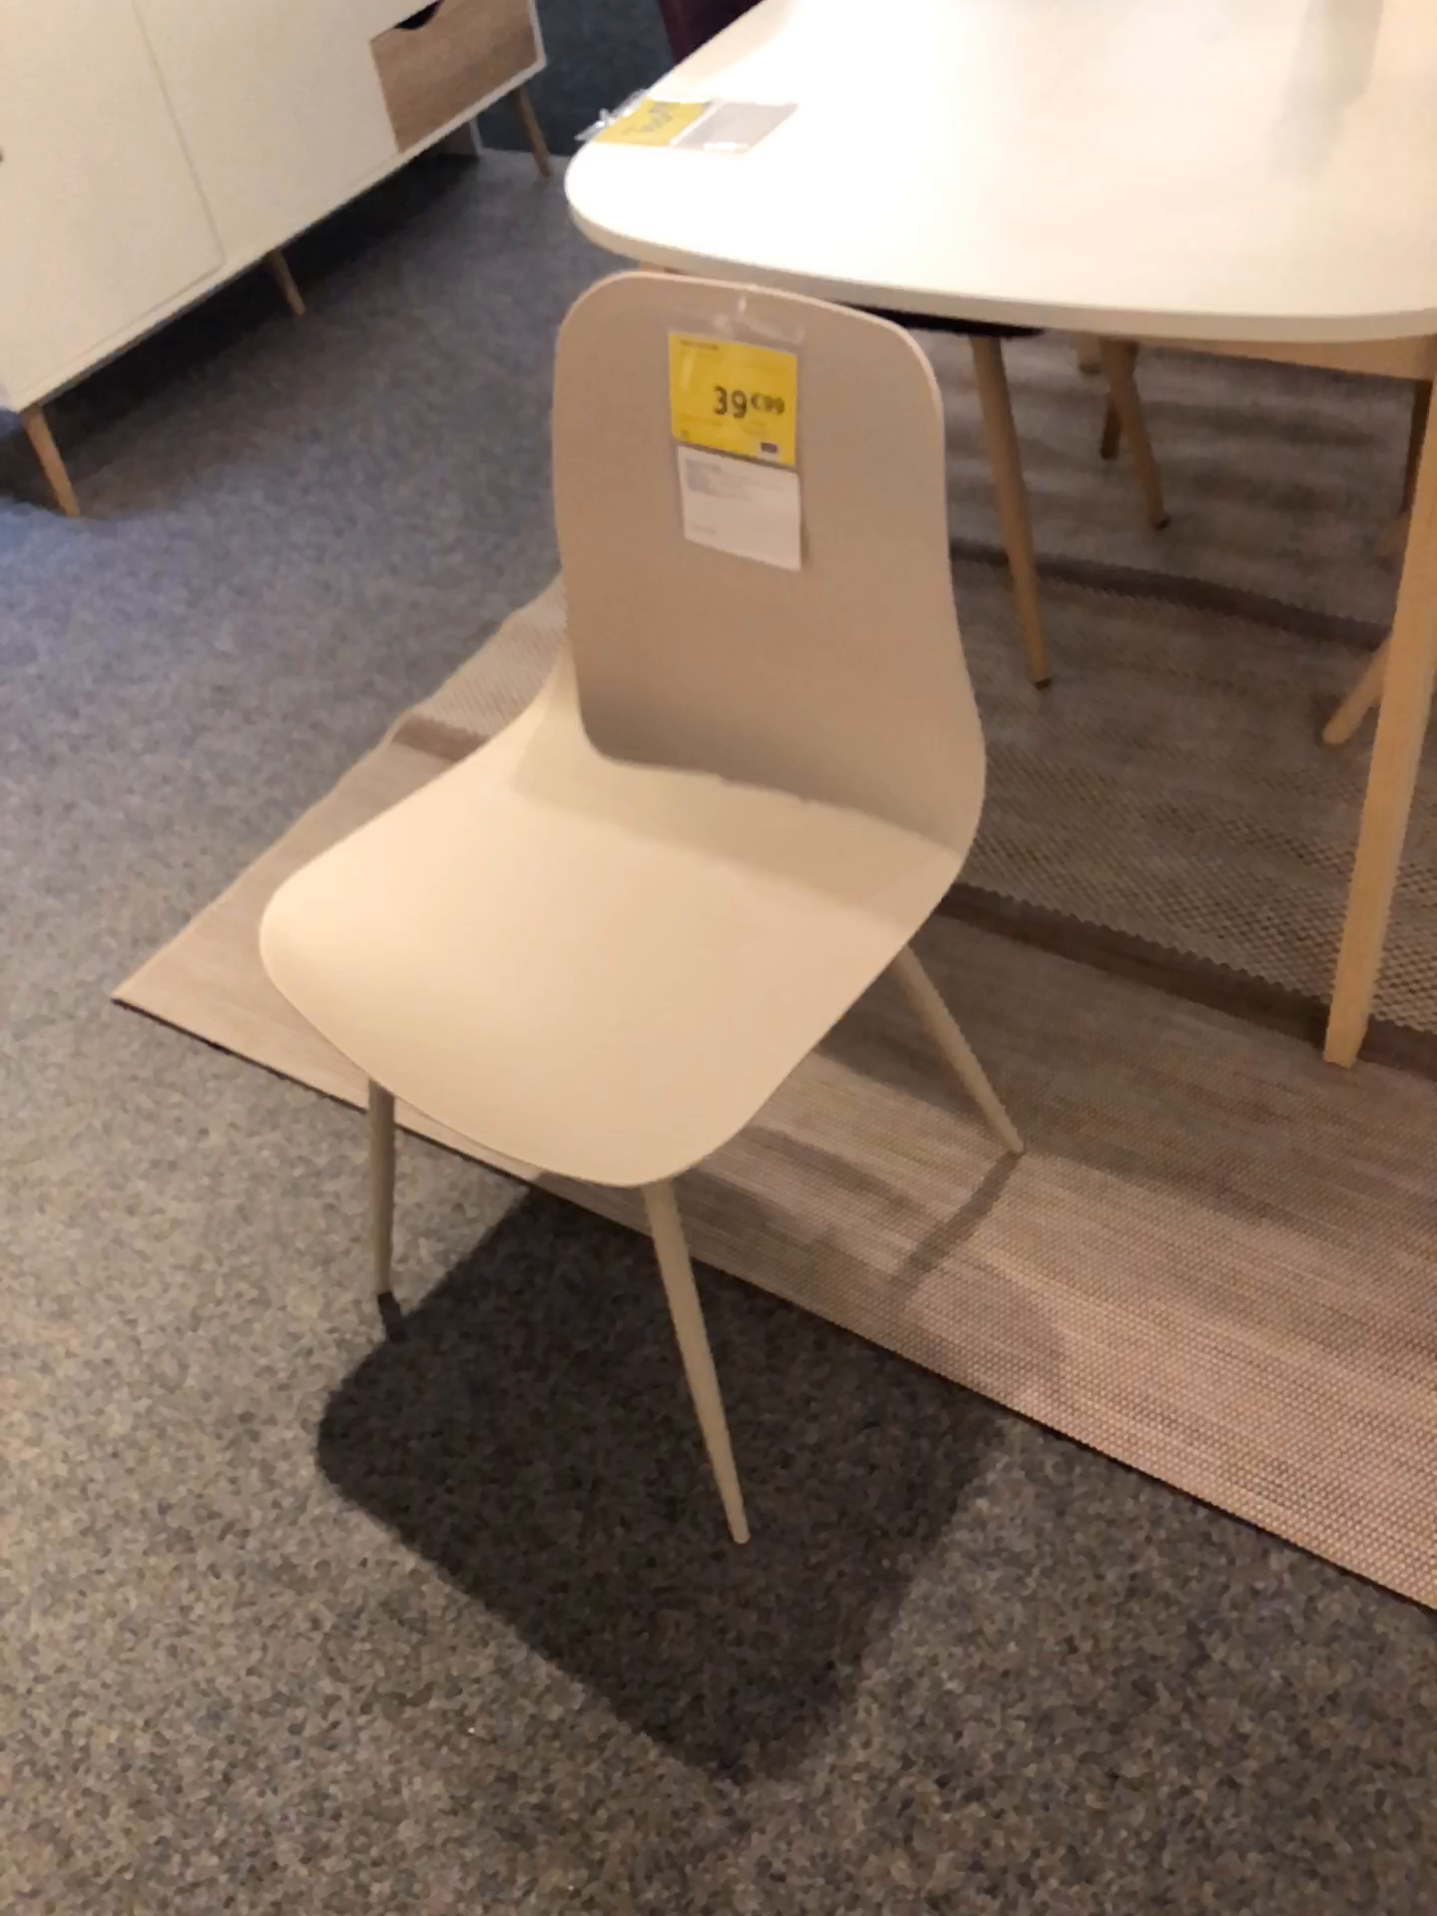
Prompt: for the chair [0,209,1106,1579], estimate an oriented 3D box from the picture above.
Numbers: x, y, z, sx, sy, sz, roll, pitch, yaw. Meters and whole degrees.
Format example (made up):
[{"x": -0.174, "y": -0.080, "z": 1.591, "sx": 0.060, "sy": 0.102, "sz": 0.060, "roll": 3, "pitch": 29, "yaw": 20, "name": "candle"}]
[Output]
[{"x": -0.069, "y": -0.037, "z": 1.180, "sx": 0.500, "sy": 0.766, "sz": 0.503, "roll": 22, "pitch": 54, "yaw": 28, "name": "chair"}]
